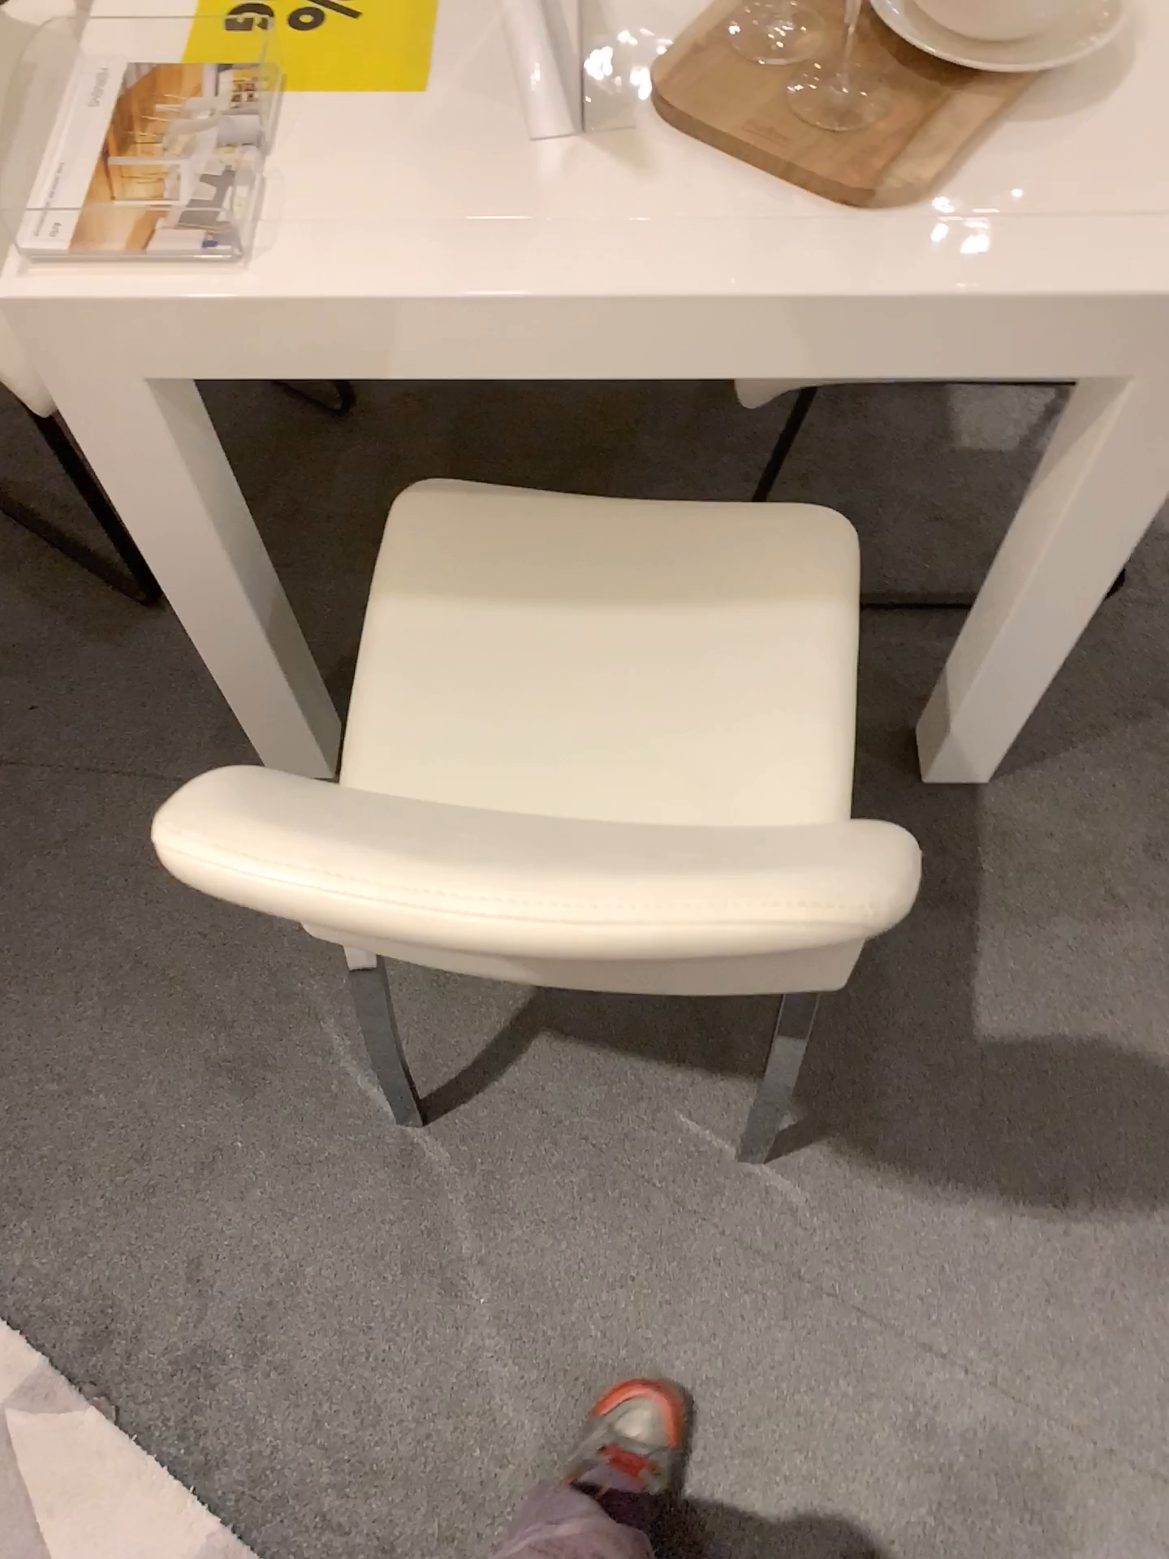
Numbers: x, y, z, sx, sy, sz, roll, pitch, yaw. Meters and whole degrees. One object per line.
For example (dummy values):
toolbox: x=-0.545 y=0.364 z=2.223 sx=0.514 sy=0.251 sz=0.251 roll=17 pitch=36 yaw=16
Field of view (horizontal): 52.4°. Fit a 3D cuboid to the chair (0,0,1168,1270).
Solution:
chair: x=0.004 y=-0.028 z=0.927 sx=0.479 sy=0.959 sz=0.647 roll=6 pitch=64 yaw=4
